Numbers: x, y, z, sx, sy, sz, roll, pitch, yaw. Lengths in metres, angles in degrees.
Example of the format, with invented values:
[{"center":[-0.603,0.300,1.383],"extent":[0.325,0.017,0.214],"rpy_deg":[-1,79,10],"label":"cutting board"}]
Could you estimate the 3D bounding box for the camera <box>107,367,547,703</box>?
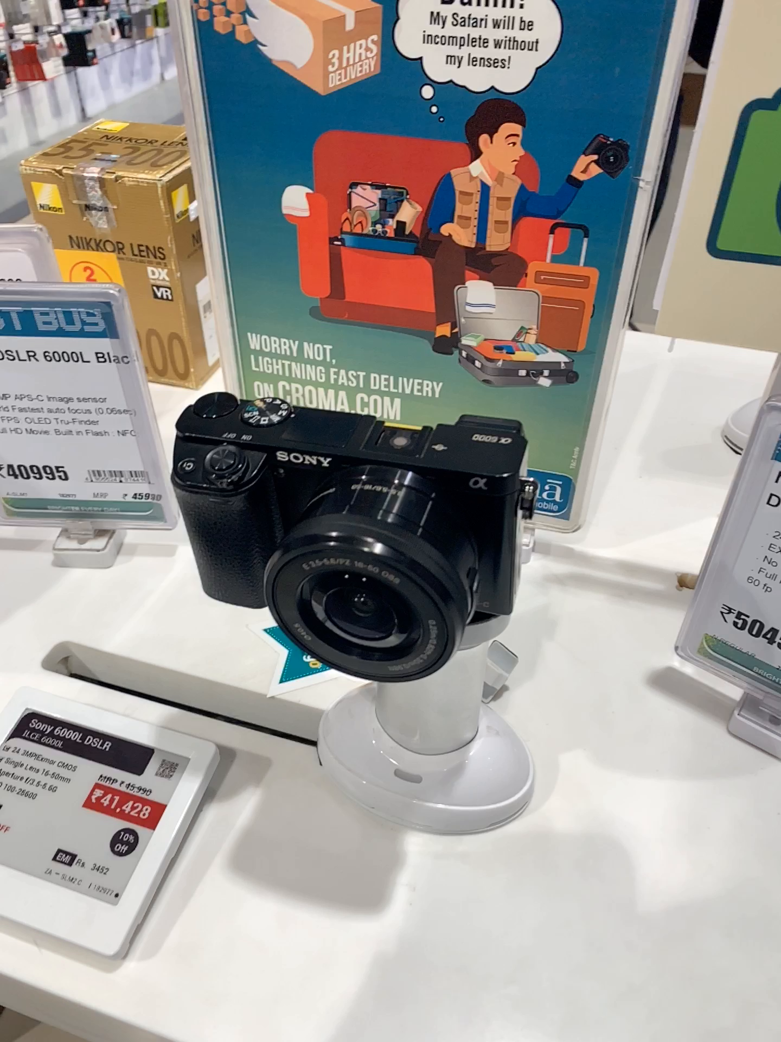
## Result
[{"center":[-0.016,0.003,0.259],"extent":[0.118,0.073,0.056],"rpy_deg":[8,41,9],"label":"camera"}]
